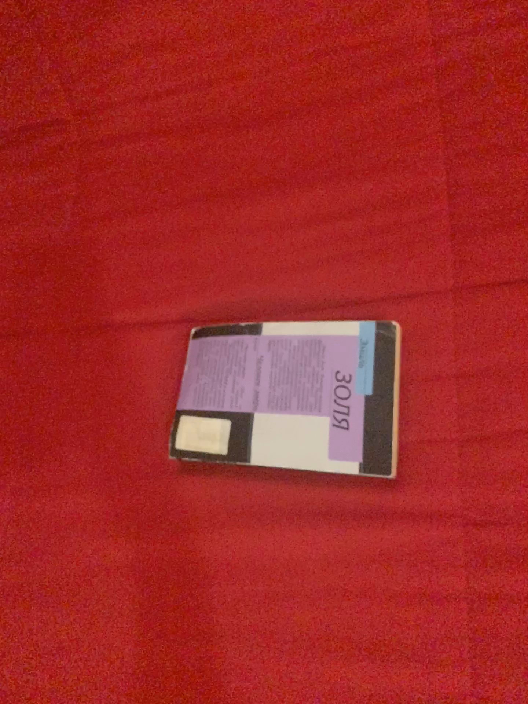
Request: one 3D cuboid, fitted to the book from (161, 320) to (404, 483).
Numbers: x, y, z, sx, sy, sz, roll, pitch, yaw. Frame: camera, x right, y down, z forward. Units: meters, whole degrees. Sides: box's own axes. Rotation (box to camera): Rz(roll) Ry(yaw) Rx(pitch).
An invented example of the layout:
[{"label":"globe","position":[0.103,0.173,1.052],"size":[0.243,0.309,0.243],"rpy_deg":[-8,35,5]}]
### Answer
[{"label":"book","position":[0.014,0.034,0.412],"size":[0.171,0.034,0.109],"rpy_deg":[0,73,21]}]
